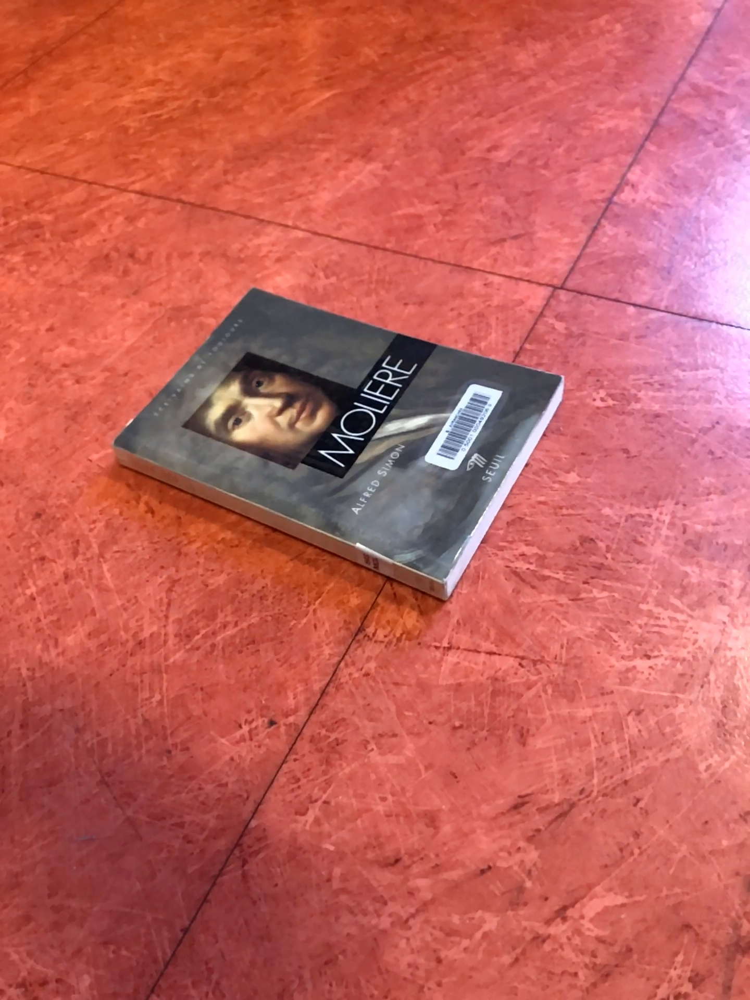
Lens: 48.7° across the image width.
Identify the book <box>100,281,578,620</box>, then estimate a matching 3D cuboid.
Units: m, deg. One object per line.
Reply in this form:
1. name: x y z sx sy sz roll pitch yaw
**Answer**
1. book: -0.017 -0.036 0.393 0.183 0.015 0.135 21 59 22
